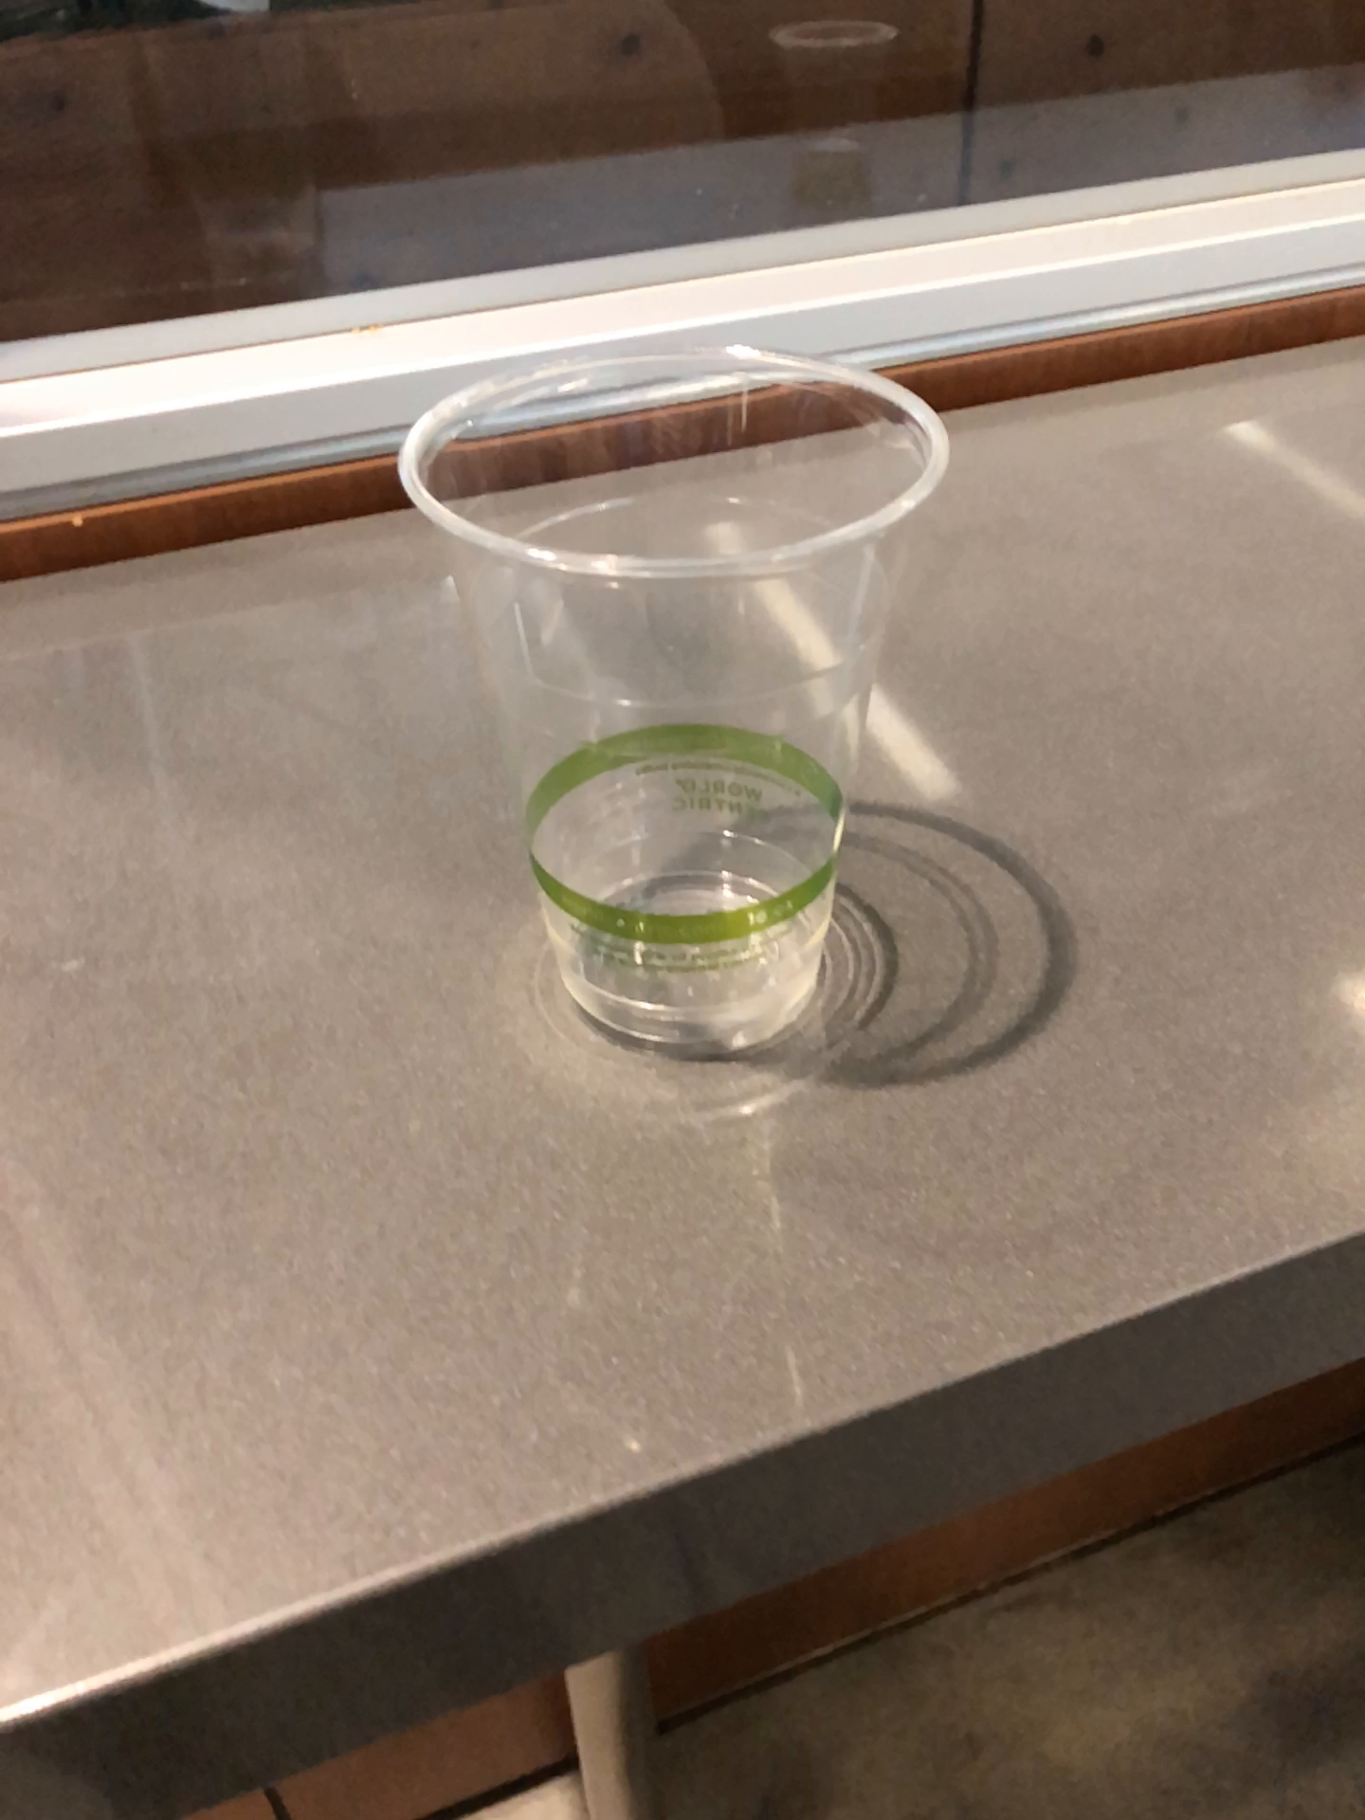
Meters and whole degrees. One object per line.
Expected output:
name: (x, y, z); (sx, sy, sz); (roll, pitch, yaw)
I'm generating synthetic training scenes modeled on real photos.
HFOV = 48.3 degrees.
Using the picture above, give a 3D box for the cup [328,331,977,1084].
cup: (0.003, -0.044, 0.308); (0.100, 0.109, 0.100); (-2, 38, 1)
